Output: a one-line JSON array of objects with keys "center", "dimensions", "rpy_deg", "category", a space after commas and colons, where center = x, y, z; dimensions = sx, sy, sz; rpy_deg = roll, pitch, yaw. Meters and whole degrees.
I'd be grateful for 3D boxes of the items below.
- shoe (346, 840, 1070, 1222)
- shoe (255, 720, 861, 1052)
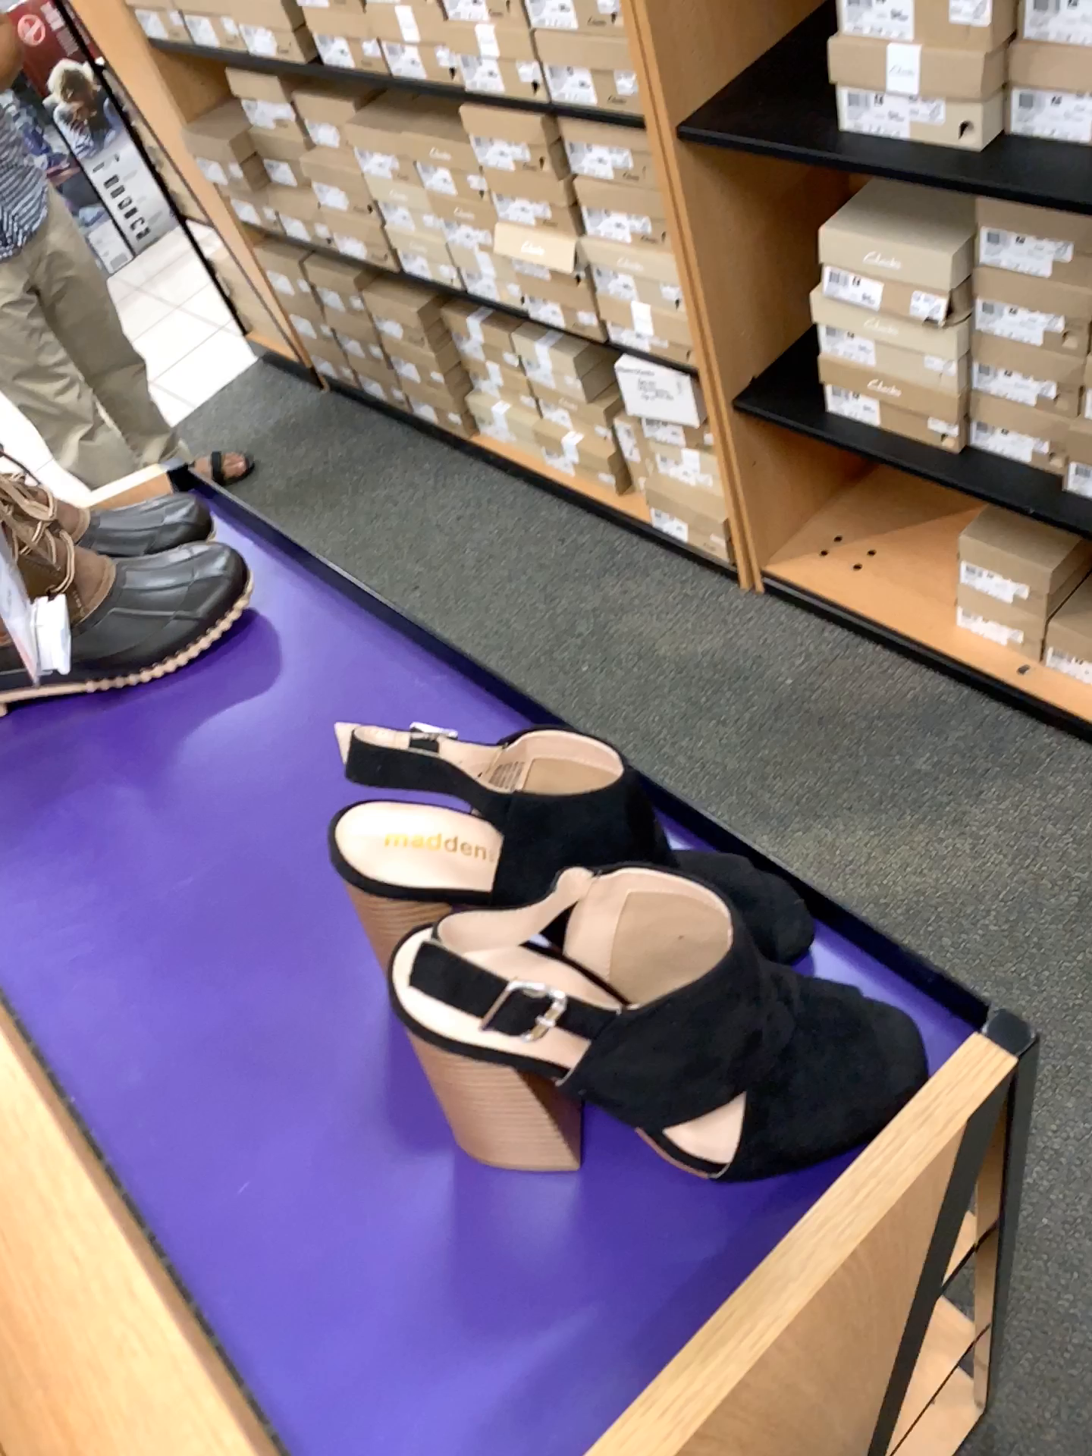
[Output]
[{"center": [0.043, 0.119, 0.411], "dimensions": [0.220, 0.140, 0.080], "rpy_deg": [4, 52, -5], "category": "shoe"}, {"center": [0.002, 0.069, 0.470], "dimensions": [0.220, 0.110, 0.080], "rpy_deg": [-3, 51, -3], "category": "shoe"}]
